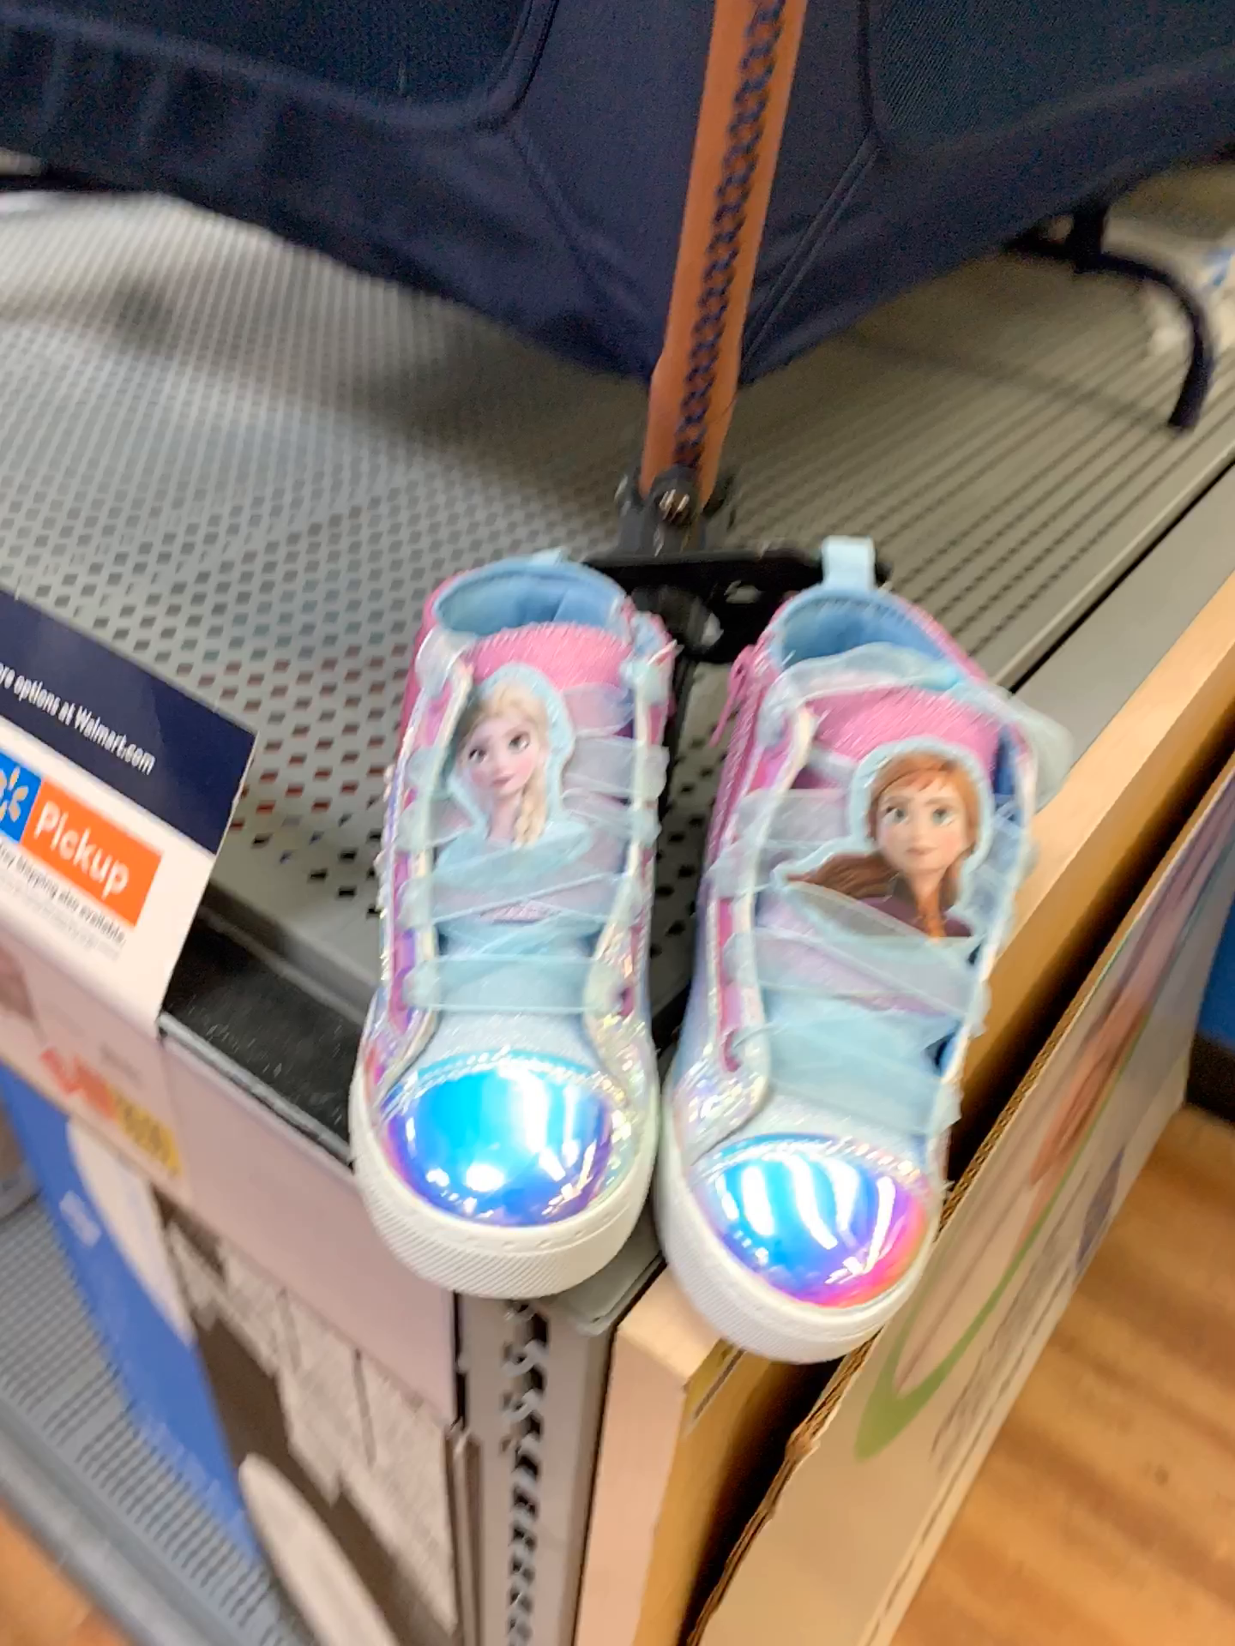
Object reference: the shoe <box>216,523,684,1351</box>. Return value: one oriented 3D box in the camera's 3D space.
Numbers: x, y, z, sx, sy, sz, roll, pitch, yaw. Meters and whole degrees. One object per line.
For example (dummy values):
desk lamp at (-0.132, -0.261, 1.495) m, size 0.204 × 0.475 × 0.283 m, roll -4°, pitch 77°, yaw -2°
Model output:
shoe at (-0.028, 0.016, 0.319) m, size 0.079 × 0.102 × 0.183 m, roll 5°, pitch 40°, yaw -1°

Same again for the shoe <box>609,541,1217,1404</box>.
shoe at (0.056, 0.026, 0.319) m, size 0.089 × 0.102 × 0.183 m, roll 9°, pitch 39°, yaw -4°
